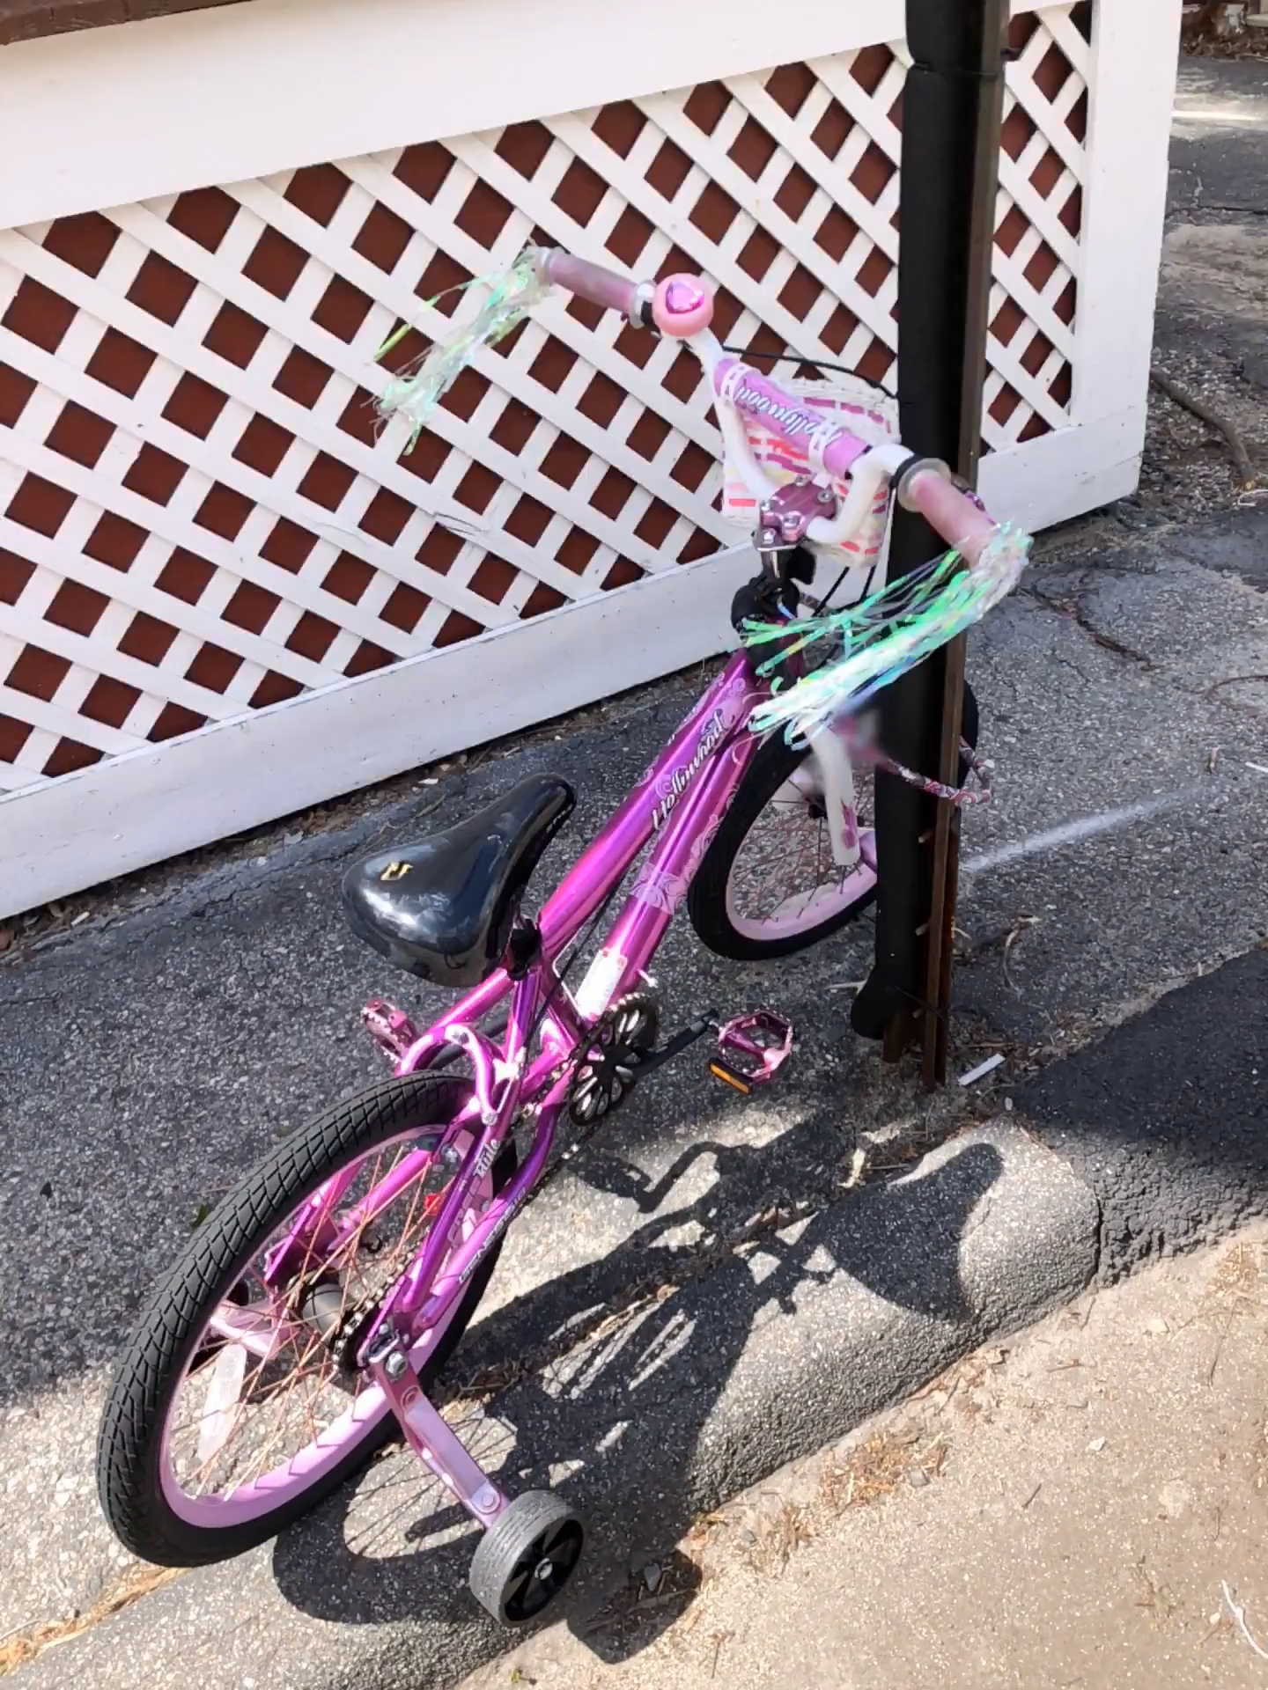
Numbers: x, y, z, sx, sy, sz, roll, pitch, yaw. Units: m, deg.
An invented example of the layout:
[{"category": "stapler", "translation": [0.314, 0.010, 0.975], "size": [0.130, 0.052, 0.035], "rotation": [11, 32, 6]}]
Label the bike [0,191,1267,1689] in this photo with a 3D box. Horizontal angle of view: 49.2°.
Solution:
[{"category": "bike", "translation": [-0.005, 0.022, 1.267], "size": [0.615, 0.869, 1.230], "rotation": [23, 45, 35]}]
